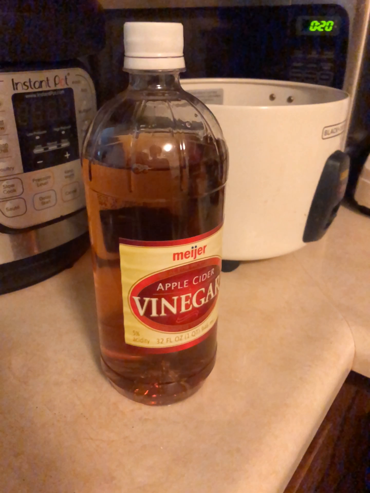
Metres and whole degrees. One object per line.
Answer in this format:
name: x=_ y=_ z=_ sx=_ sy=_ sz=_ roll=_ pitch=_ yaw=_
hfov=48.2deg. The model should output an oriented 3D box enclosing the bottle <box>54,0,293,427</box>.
bottle: x=-0.010 y=-0.016 z=0.253 sx=0.090 sy=0.229 sz=0.080 roll=-13 pitch=30 yaw=-25
